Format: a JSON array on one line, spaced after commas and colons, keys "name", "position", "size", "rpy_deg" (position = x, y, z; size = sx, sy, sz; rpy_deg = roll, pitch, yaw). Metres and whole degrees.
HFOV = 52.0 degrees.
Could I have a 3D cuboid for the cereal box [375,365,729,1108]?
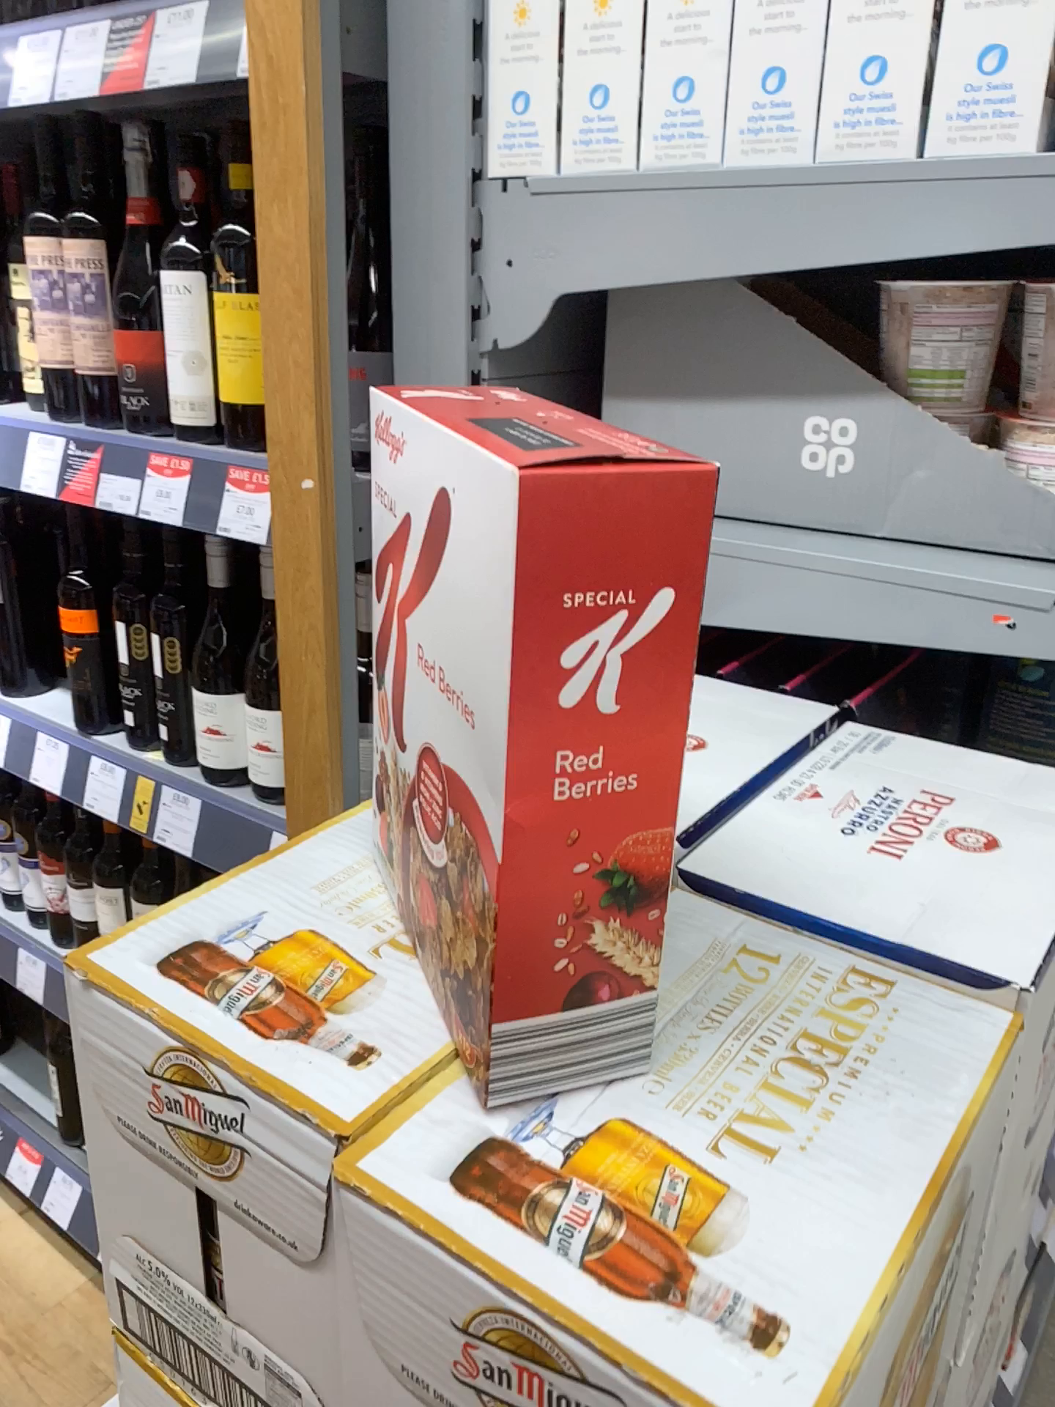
[{"name": "cereal box", "position": [-0.009, -0.005, 0.445], "size": [0.070, 0.238, 0.201], "rpy_deg": [-3, 21, -18]}]
